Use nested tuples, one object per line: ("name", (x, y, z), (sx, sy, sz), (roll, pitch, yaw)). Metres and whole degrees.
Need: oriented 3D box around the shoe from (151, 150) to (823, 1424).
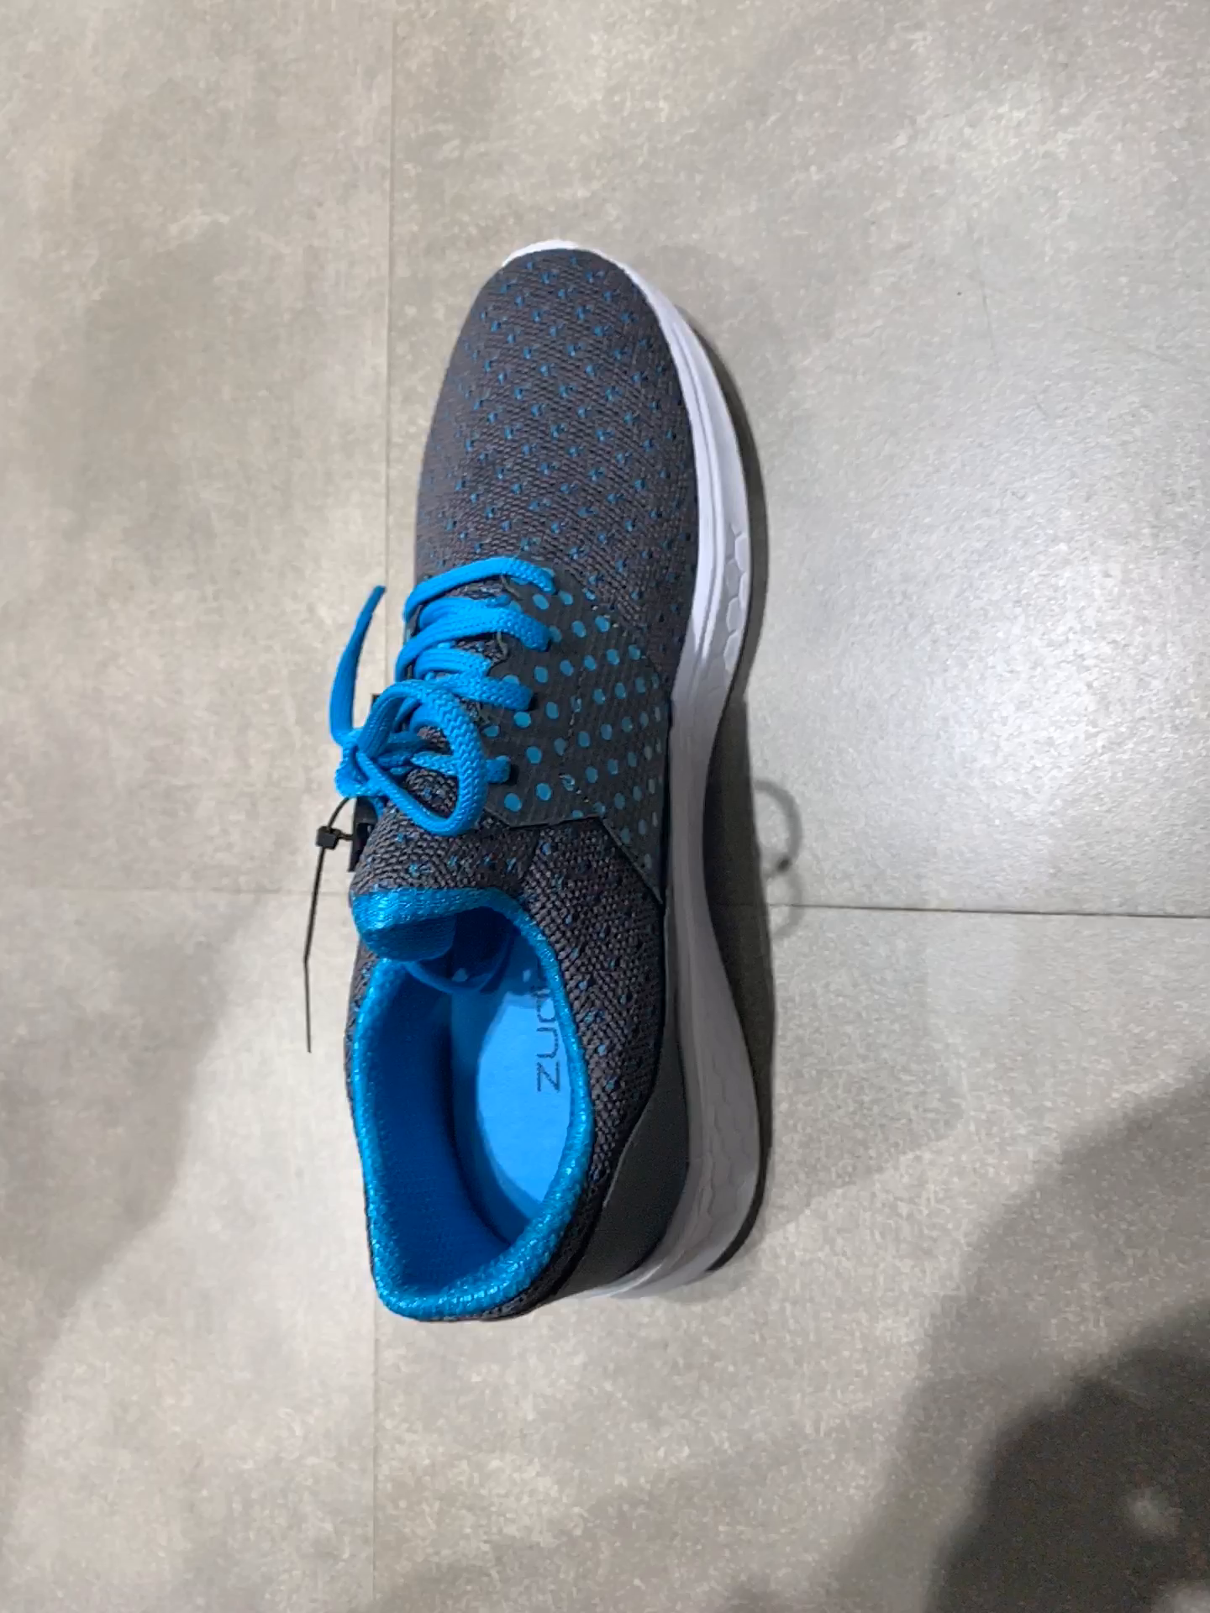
("shoe", (-0.024, -0.001, 0.289), (0.103, 0.101, 0.227), (-7, 84, 26))
